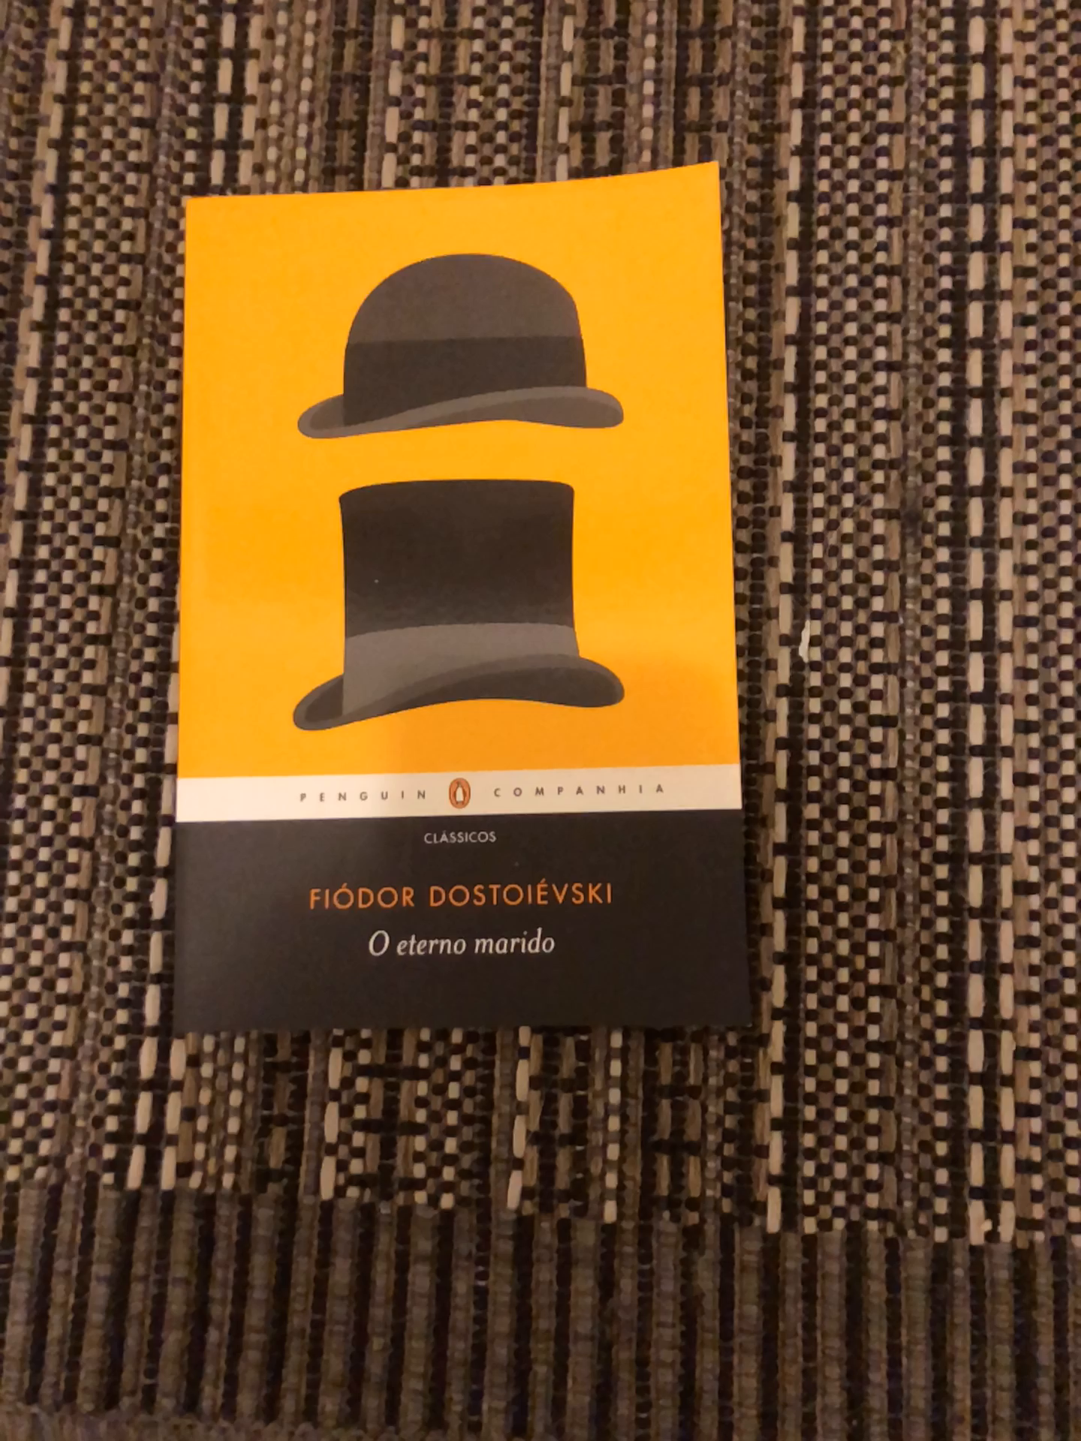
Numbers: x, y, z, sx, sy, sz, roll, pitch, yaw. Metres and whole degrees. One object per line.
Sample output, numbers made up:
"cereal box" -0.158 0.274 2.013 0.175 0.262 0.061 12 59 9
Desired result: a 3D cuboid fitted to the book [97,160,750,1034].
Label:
"book" -0.025 -0.027 0.258 0.130 0.020 0.180 -2 83 3
